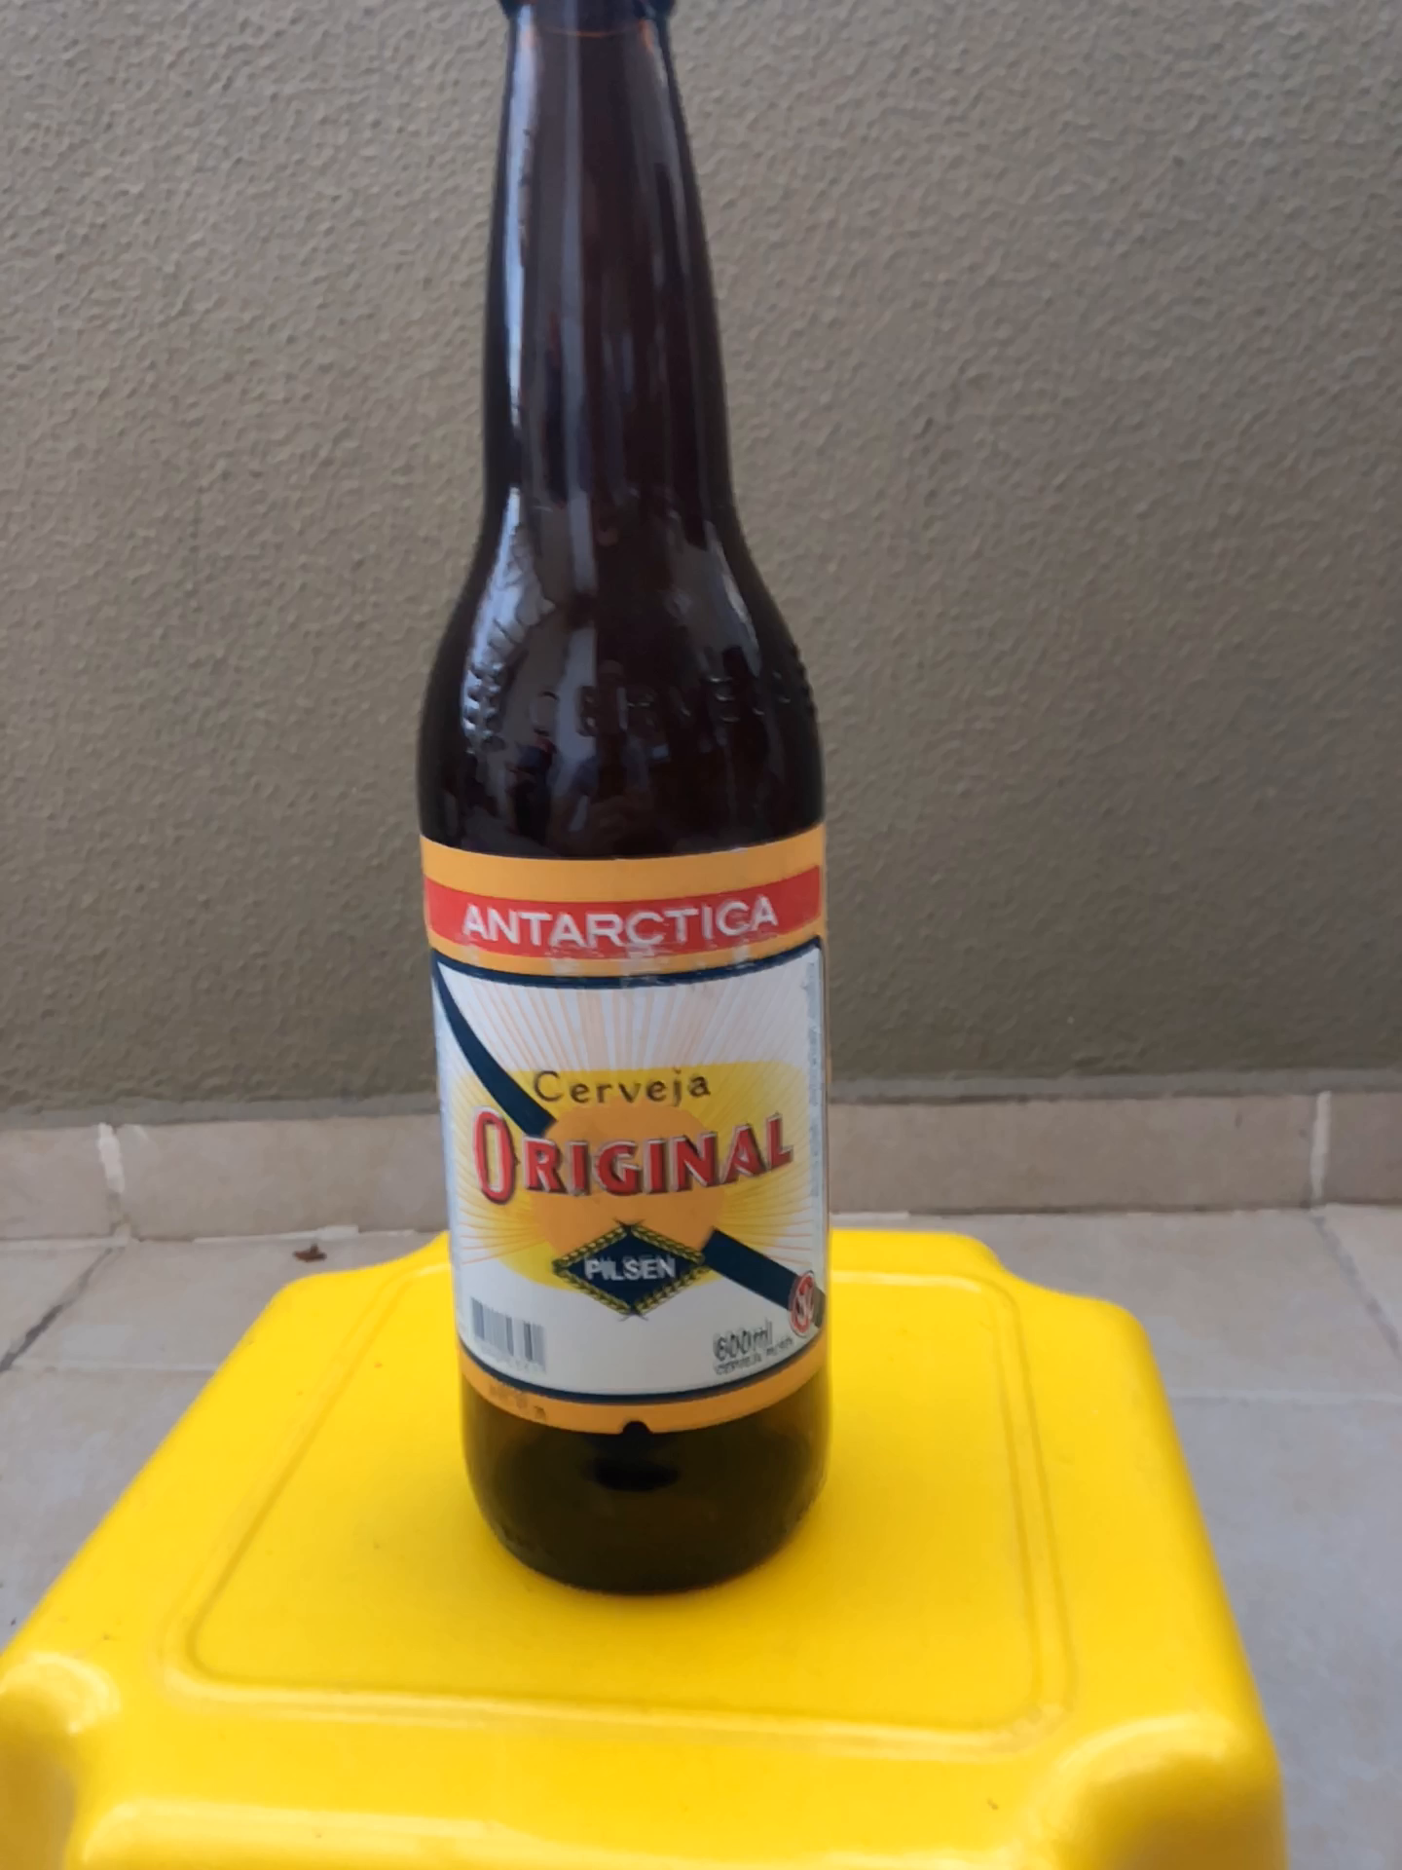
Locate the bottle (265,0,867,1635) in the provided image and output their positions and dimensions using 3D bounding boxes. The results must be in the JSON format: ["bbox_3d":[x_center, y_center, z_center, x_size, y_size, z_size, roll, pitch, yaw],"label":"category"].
[{"bbox_3d":[-0.012,-0.028,0.284,0.080,0.289,0.080,-1,13,0],"label":"bottle"}]
